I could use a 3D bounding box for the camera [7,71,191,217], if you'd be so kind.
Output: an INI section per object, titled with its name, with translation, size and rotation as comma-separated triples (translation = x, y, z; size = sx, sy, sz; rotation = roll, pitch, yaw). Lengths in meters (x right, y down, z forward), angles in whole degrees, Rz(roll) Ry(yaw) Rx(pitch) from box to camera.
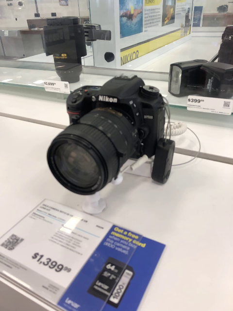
[camera]
translation = -0.005, -0.035, 0.330
size = 0.160, 0.100, 0.171
rotation = 10, 33, 22
